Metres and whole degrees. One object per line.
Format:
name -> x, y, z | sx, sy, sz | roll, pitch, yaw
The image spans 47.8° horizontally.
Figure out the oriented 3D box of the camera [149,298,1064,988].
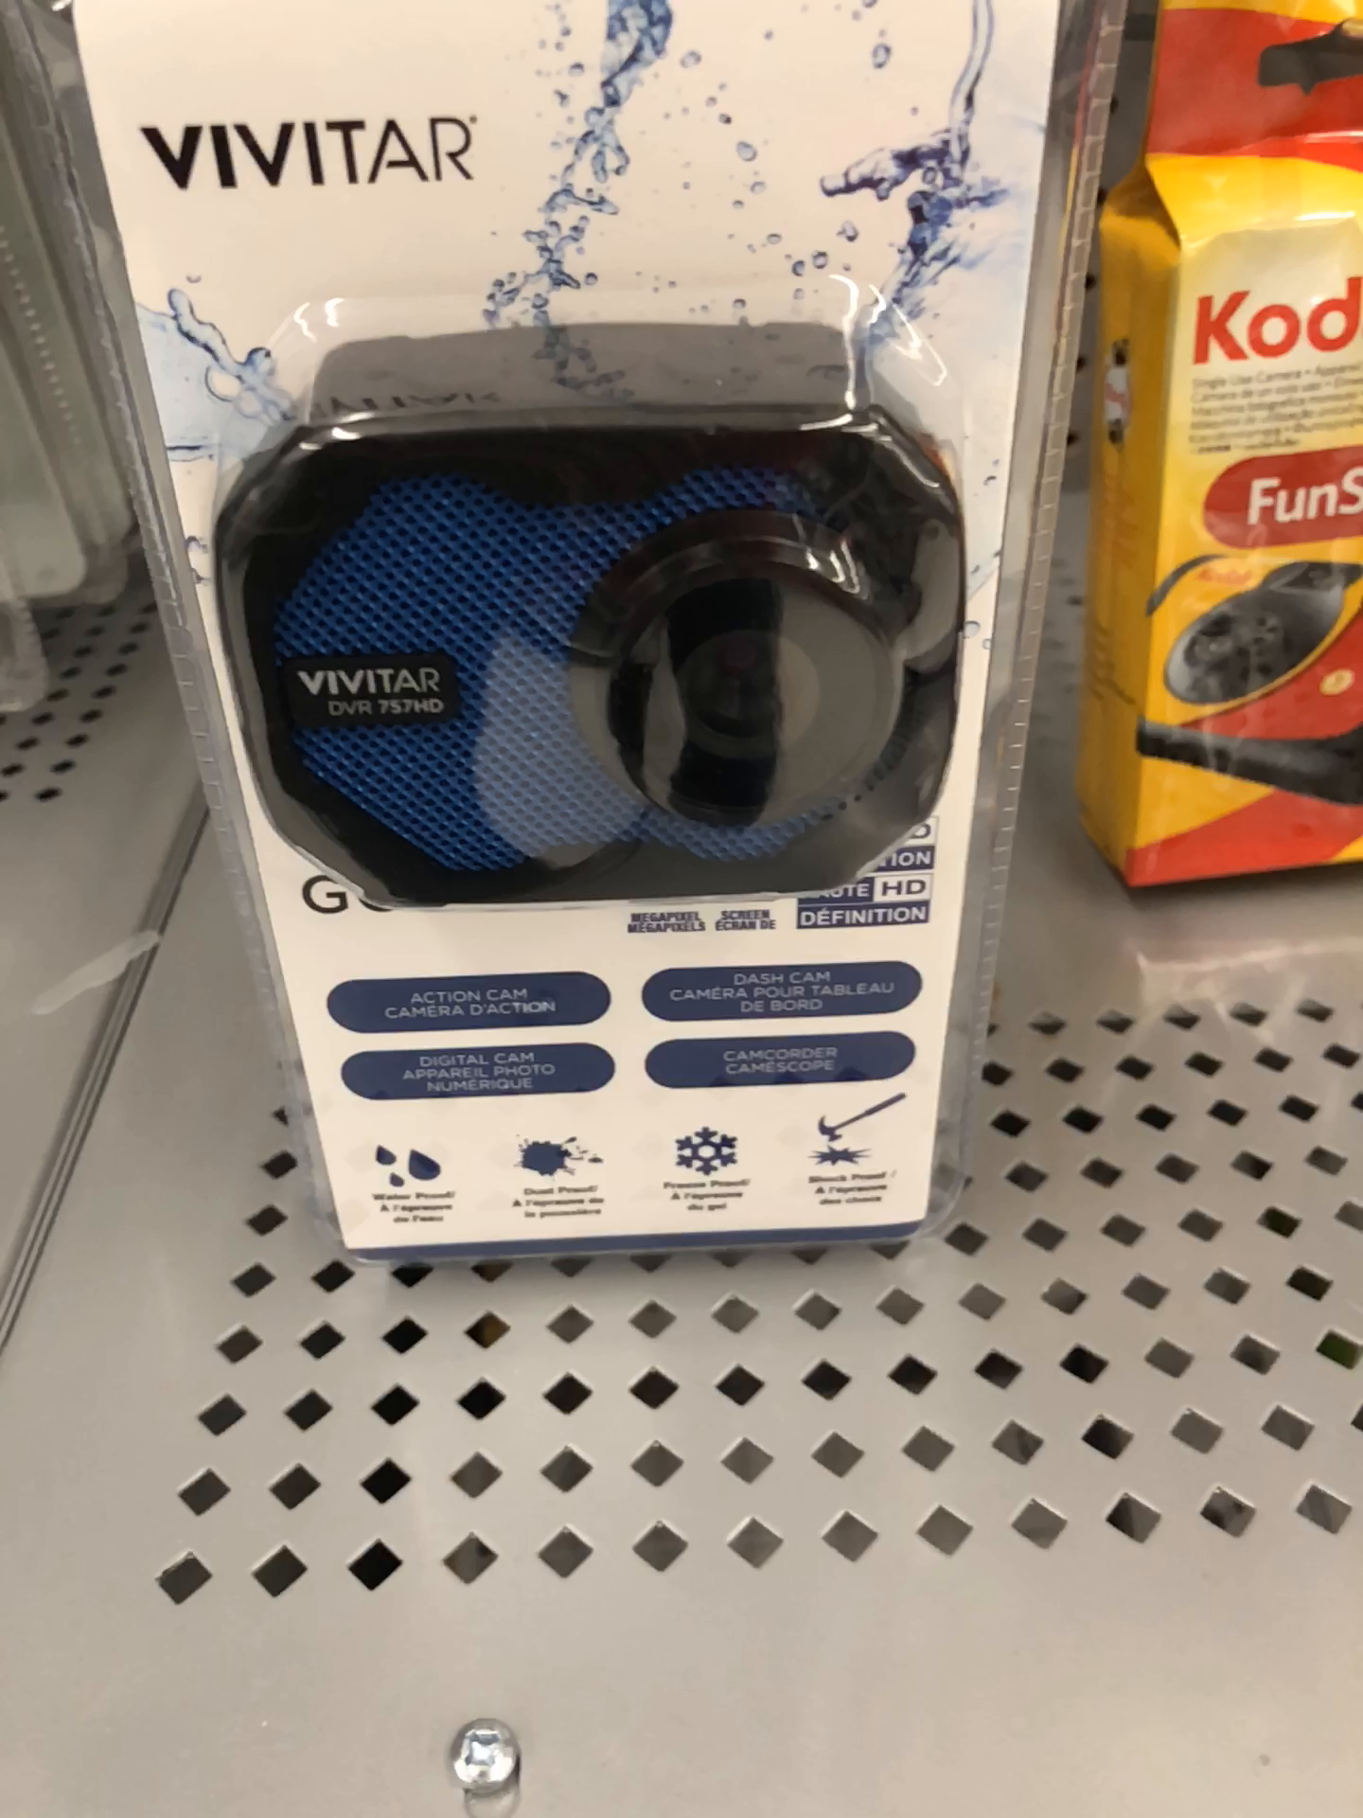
camera -> -0.005, -0.026, 0.148 | 0.070, 0.050, 0.040 | -3, 36, 0
